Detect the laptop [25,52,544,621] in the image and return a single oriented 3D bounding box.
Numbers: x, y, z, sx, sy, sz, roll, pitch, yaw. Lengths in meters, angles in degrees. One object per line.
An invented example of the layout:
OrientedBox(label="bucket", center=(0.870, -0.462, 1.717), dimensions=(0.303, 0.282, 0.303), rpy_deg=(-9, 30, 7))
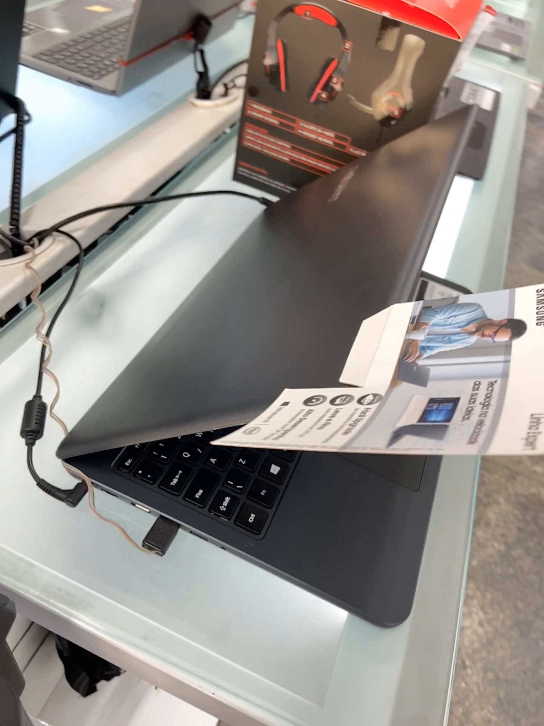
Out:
OrientedBox(label="laptop", center=(0.052, -0.062, 0.429), dimensions=(0.237, 0.170, 0.374), rpy_deg=(23, 46, 8))
